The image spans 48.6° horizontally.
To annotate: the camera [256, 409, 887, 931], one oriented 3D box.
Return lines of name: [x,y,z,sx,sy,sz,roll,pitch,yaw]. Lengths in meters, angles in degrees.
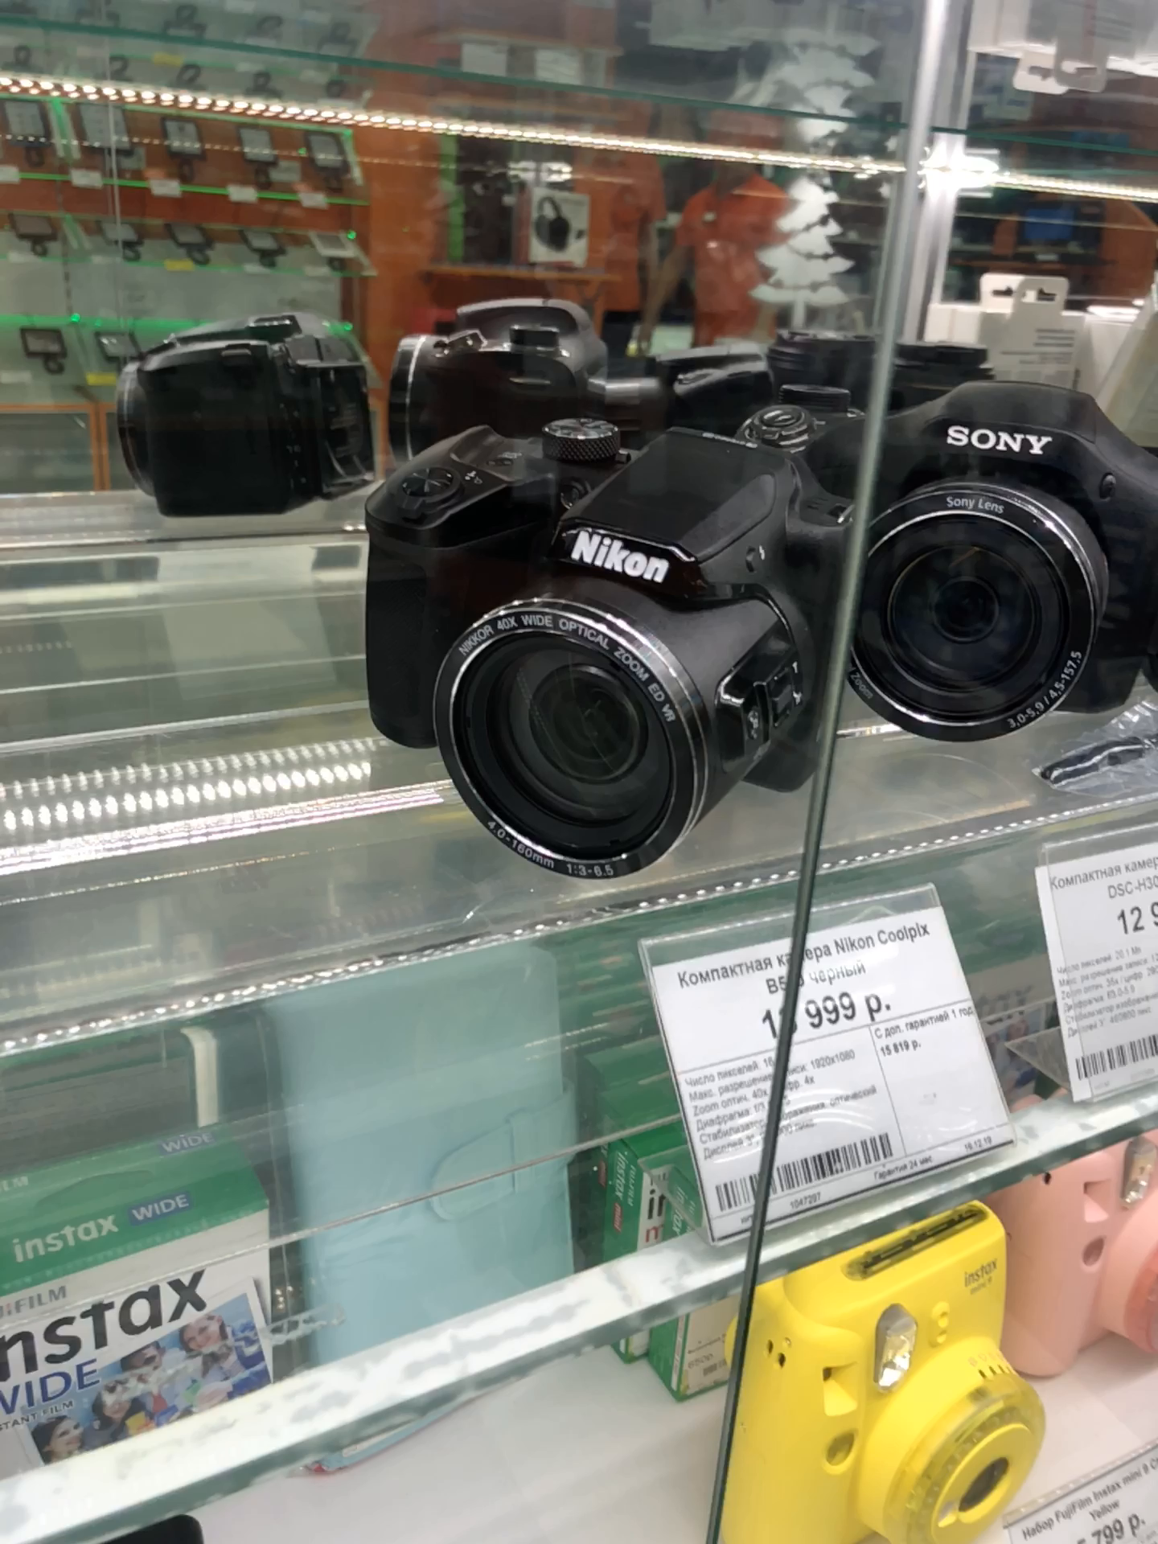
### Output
camera: [0.001,-0.033,0.296,0.110,0.080,0.098,13,23,19]

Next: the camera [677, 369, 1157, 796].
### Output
camera: [0.100,-0.061,0.360,0.114,0.084,0.099,11,25,21]
